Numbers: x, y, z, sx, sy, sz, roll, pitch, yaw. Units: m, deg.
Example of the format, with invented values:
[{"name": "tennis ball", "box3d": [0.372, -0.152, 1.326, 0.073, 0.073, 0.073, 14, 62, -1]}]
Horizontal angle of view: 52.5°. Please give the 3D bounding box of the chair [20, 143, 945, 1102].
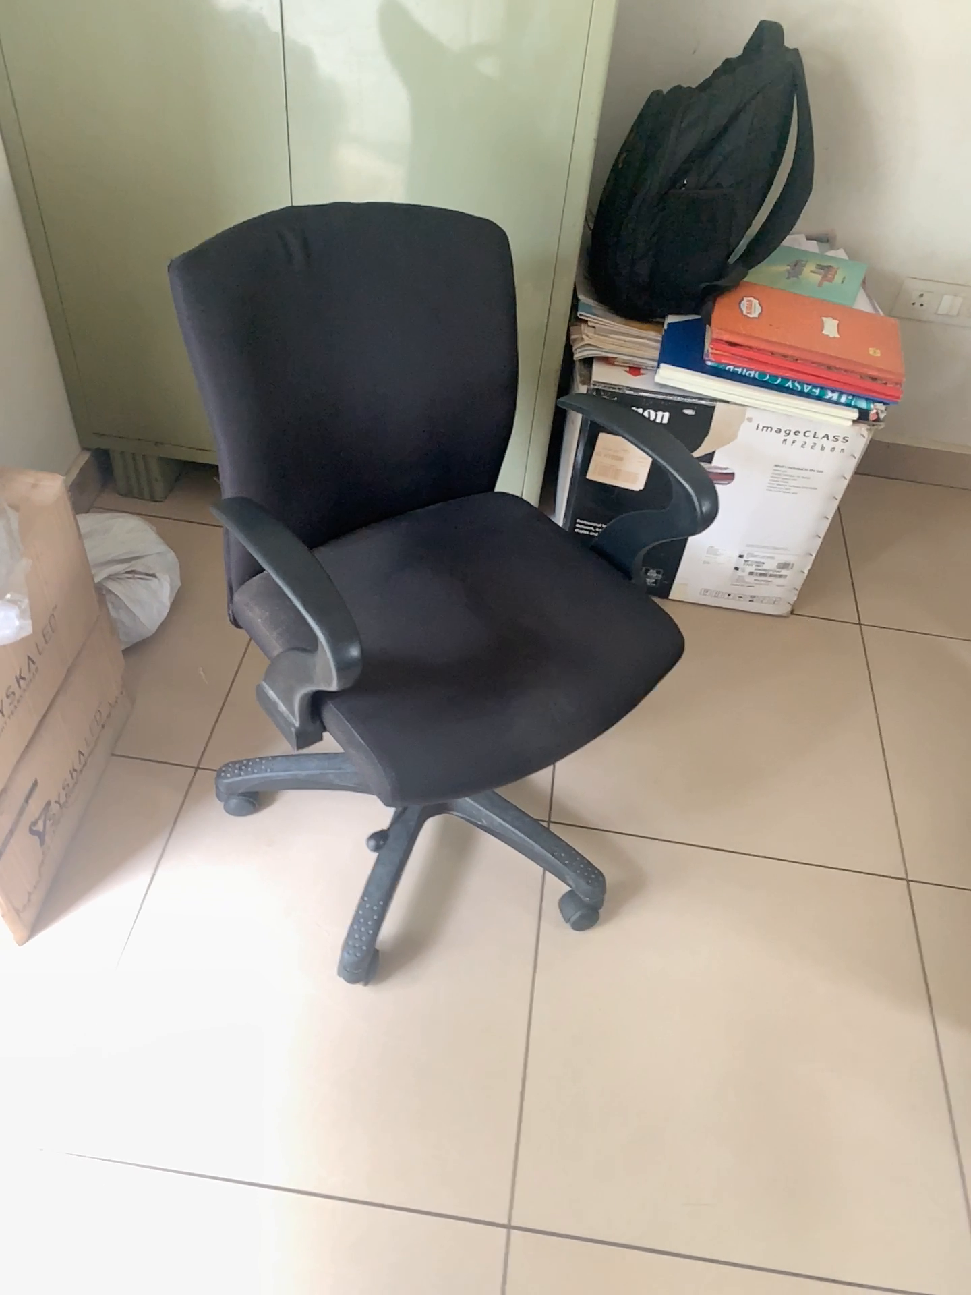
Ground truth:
[{"name": "chair", "box3d": [-0.049, -0.037, 1.379, 0.701, 0.927, 0.701, -27, 56, -28]}]
